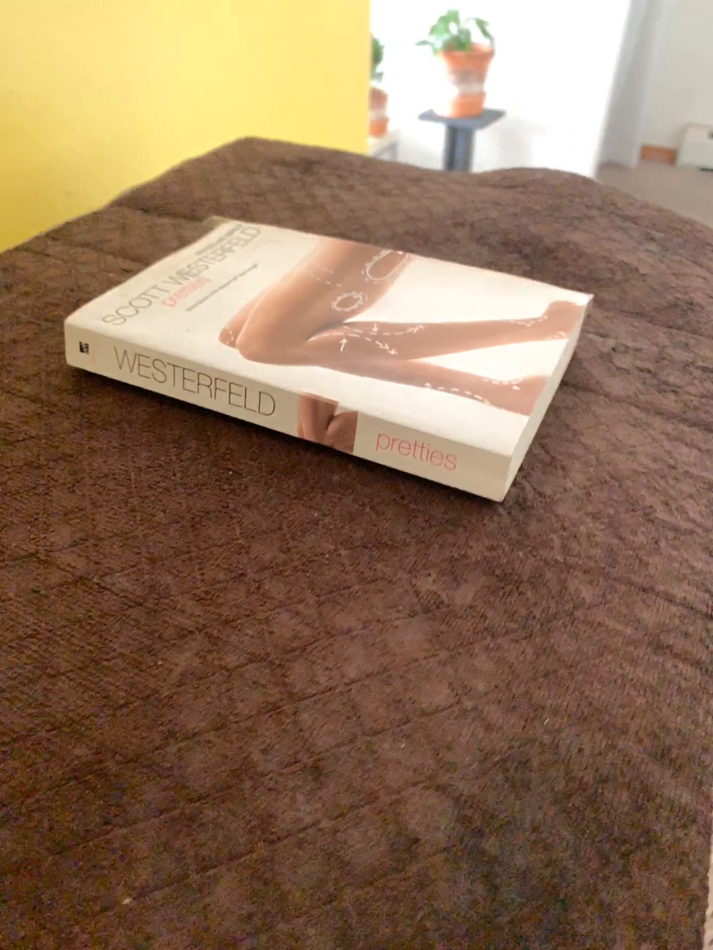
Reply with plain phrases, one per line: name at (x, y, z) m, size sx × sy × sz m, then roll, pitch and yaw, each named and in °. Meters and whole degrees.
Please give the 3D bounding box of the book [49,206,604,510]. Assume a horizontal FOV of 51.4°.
book at (-0.007, -0.073, 0.362) m, size 0.220 × 0.030 × 0.151 m, roll 18°, pitch 42°, yaw 18°
